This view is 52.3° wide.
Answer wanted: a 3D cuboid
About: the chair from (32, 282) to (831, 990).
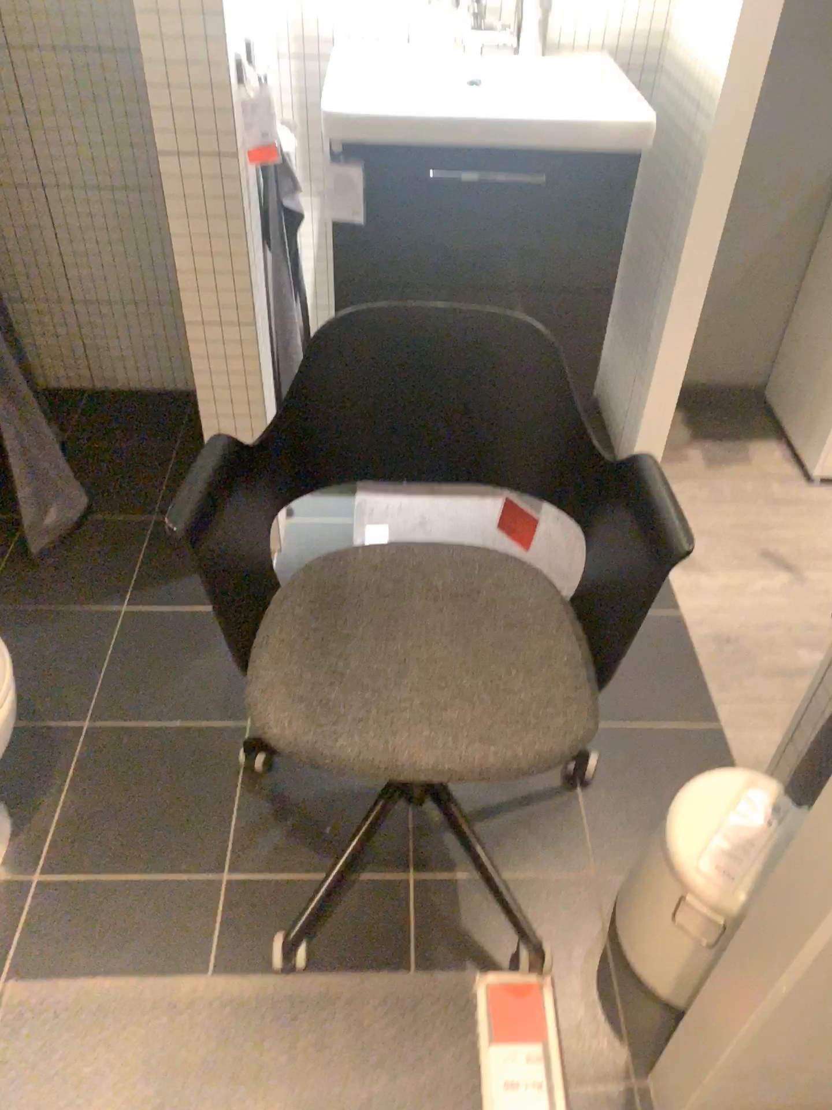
[{"bbox_3d":[0.003,0.120,1.147,0.640,0.736,0.603,1,41,-1],"label":"chair"}]
